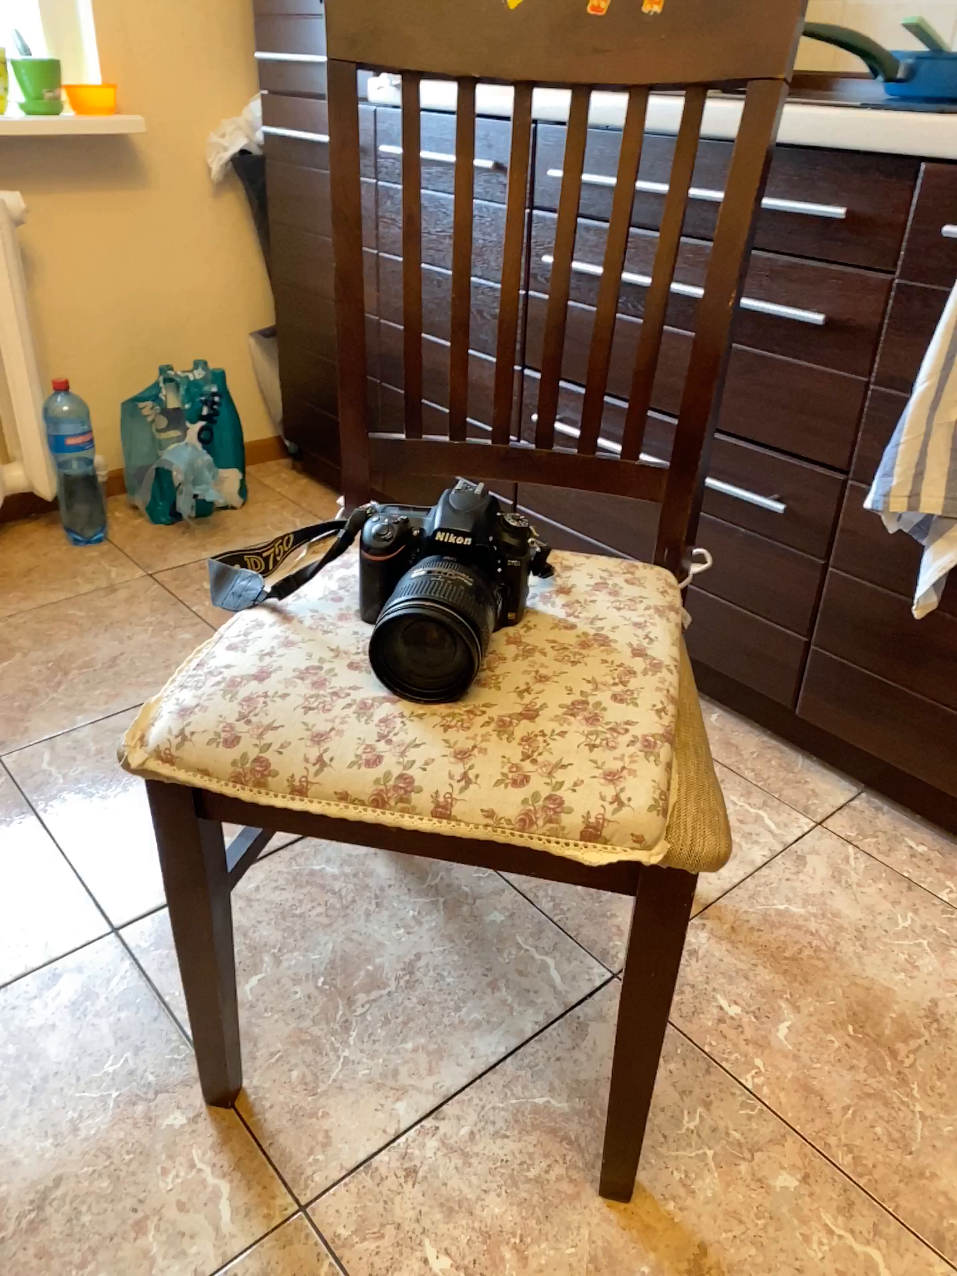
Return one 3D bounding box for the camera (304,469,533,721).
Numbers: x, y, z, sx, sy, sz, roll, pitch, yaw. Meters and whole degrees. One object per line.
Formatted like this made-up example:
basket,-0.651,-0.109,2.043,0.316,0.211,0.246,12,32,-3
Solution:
camera,-0.040,-0.040,0.751,0.135,0.119,0.165,7,29,8
